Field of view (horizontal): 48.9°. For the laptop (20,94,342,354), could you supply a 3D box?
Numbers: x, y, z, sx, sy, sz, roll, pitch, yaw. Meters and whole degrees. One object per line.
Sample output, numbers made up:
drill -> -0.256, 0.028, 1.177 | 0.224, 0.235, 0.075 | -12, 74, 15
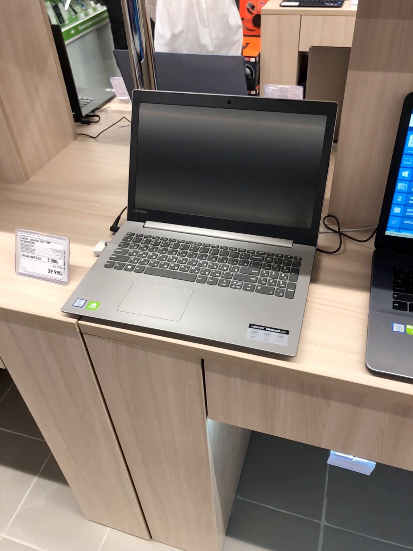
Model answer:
laptop -> -0.003, -0.116, 0.735 | 0.370, 0.208, 0.367 | 9, 42, 15

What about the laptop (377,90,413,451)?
laptop -> 0.457, -0.045, 0.592 | 0.403, 0.246, 0.335 | 9, 43, 15
